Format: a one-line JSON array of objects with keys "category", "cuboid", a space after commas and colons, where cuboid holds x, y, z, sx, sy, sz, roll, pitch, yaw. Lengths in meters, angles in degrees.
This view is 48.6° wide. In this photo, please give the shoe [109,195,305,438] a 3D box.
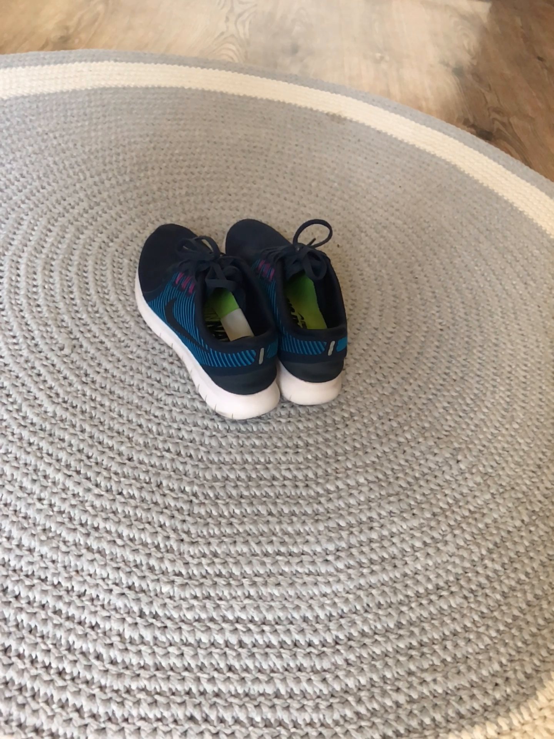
[{"category": "shoe", "cuboid": [-0.080, -0.064, 0.602, 0.100, 0.080, 0.244, -13, 52, -24]}]

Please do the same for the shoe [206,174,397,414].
[{"category": "shoe", "cuboid": [0.010, -0.091, 0.626, 0.100, 0.080, 0.271, -6, 49, -19]}]
